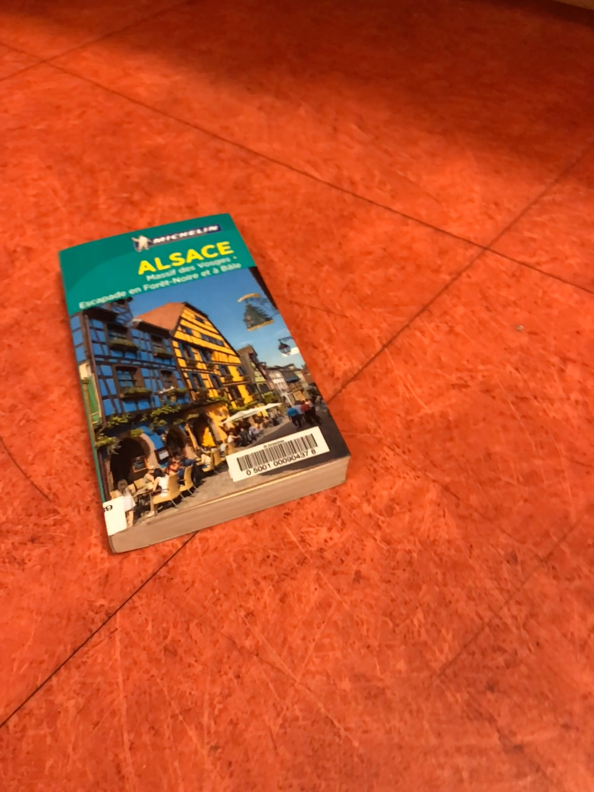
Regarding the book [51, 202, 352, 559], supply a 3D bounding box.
[{"bbox_3d":[-0.064,-0.027,0.364,0.116,0.030,0.213,-16,50,-11],"label":"book"}]
